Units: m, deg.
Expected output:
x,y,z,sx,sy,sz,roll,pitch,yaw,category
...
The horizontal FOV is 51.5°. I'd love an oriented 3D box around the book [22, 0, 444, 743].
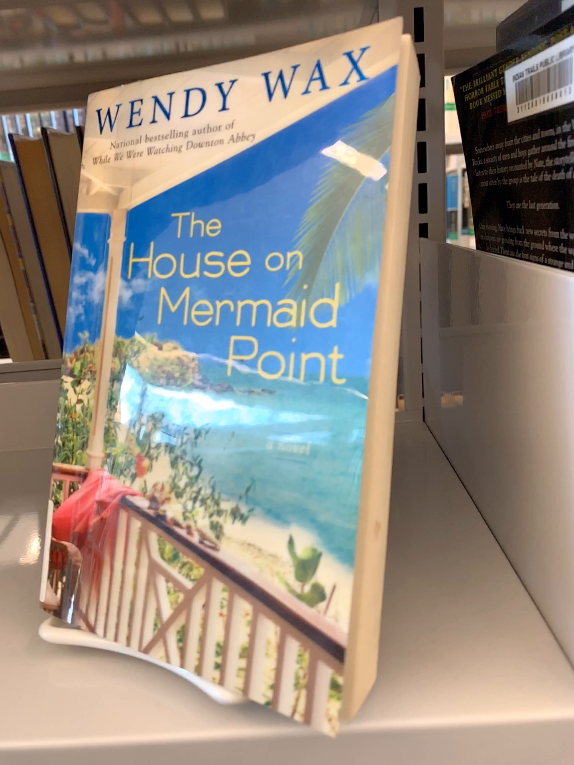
x,y,z,sx,sy,sz,roll,pitch,yaw,category
-0.024,-0.008,0.206,0.131,0.193,0.043,4,-1,32,book
